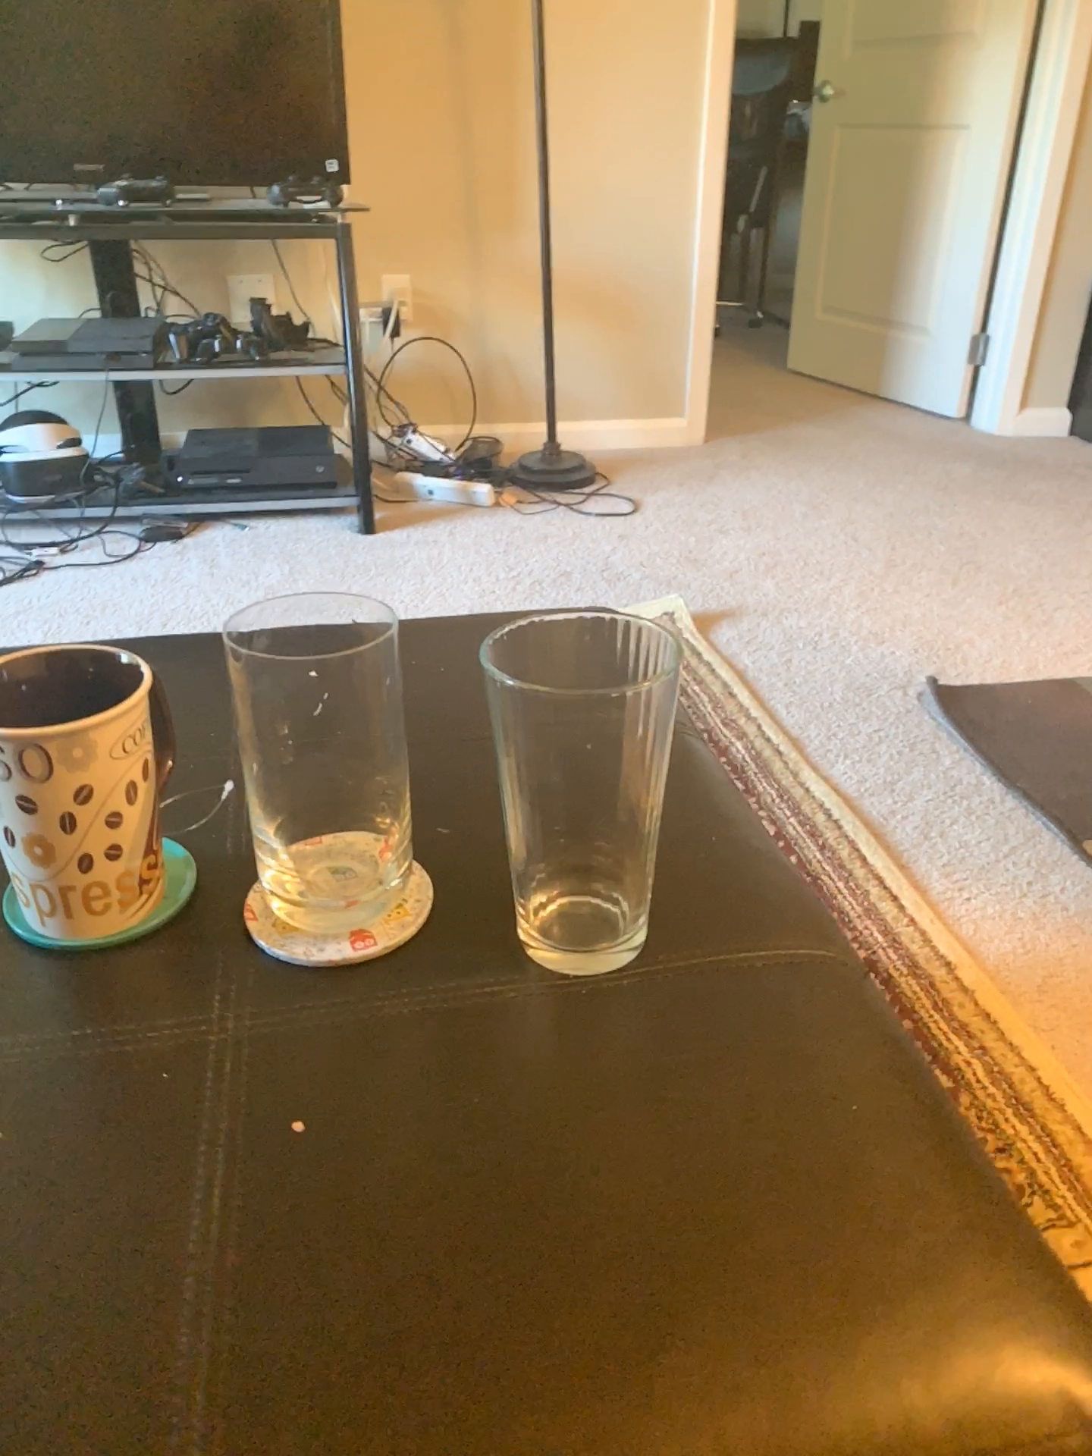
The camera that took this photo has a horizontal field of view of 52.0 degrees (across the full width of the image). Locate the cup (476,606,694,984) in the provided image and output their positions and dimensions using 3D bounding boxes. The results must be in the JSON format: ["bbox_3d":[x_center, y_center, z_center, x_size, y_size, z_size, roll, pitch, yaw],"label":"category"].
[{"bbox_3d":[0.013,0.028,0.480,0.080,0.139,0.080,0,28,0],"label":"cup"}]

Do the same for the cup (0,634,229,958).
[{"bbox_3d":[-0.207,0.026,0.490,0.090,0.099,0.090,0,28,0],"label":"cup"}]

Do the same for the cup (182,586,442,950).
[{"bbox_3d":[-0.093,0.016,0.482,0.080,0.129,0.080,0,28,0],"label":"cup"}]
